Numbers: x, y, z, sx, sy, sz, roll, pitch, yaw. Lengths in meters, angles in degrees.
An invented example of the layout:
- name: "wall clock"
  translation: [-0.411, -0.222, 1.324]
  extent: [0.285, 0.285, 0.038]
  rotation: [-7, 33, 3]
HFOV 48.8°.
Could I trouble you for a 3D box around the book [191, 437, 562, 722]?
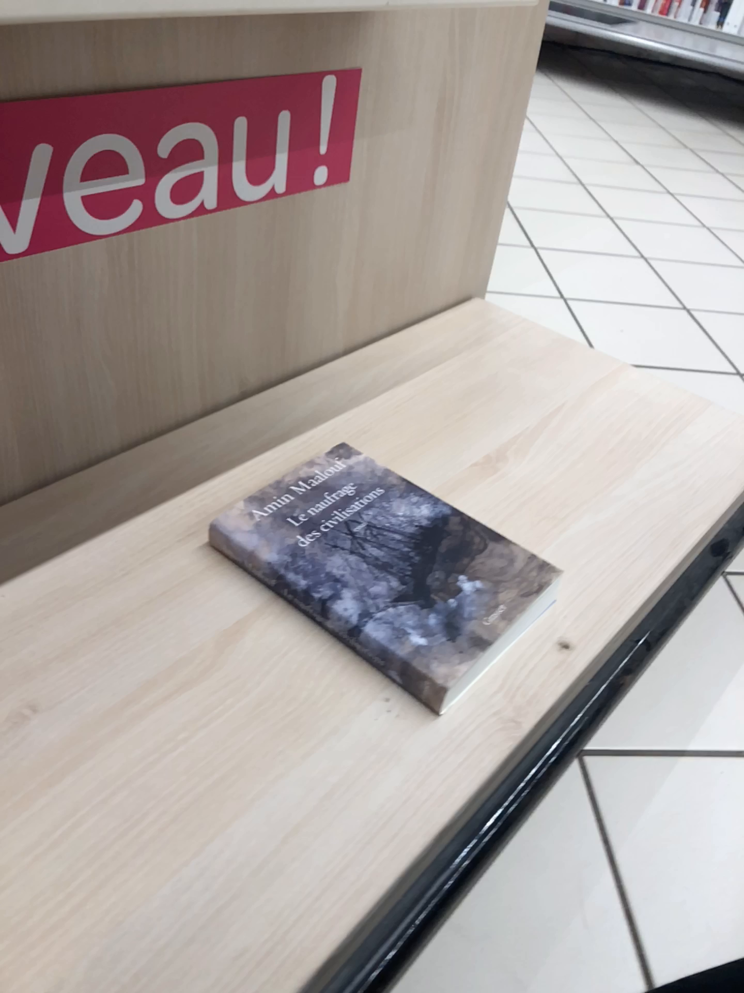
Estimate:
- name: "book"
  translation: [0.002, 0.042, 0.570]
  extent: [0.211, 0.026, 0.148]
  rotation: [32, 42, 26]
